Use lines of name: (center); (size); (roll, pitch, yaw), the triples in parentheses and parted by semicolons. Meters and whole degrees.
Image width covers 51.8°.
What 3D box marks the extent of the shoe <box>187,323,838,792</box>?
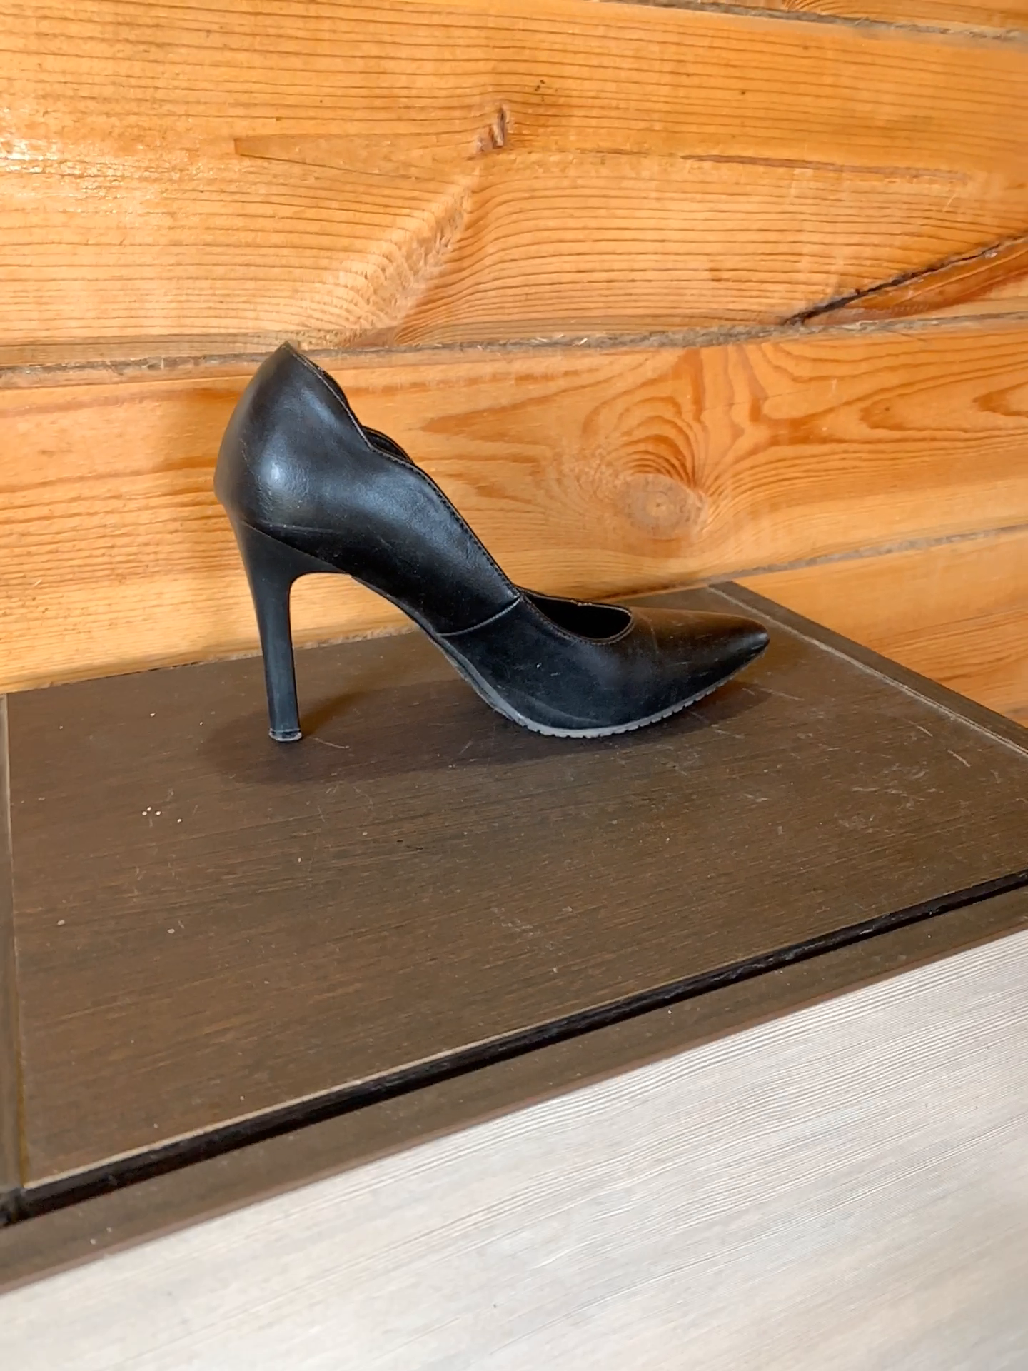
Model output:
shoe: (-0.005, -0.060, 0.420); (0.220, 0.149, 0.101); (-5, 23, -13)
